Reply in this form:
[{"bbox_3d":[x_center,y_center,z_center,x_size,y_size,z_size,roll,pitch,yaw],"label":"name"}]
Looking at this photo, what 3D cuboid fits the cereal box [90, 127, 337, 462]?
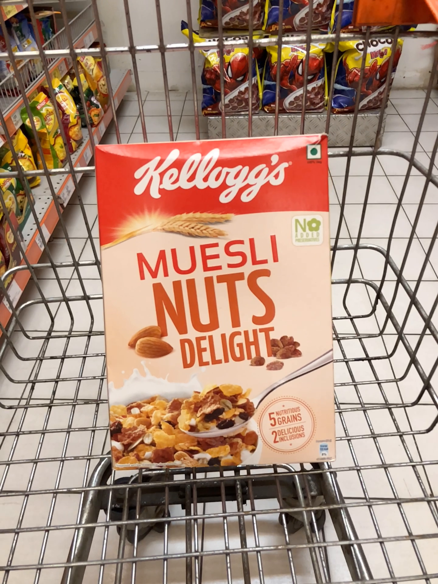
[{"bbox_3d":[-0.003,0.002,0.403,0.180,0.250,0.070,-2,2,1],"label":"cereal box"}]
